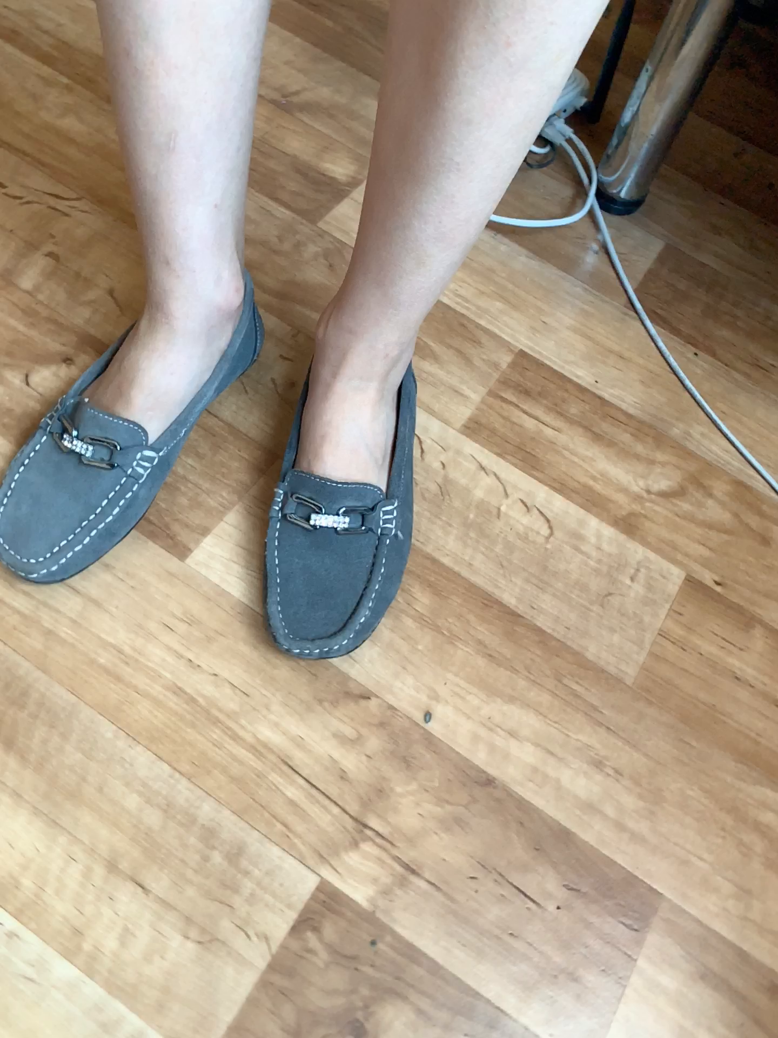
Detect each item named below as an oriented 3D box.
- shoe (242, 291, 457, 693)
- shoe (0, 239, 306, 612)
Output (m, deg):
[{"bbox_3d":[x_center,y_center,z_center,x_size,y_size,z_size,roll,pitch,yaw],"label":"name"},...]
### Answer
[{"bbox_3d":[-0.020,-0.024,0.499,0.100,0.060,0.241,9,60,-6],"label":"shoe"},{"bbox_3d":[-0.157,-0.069,0.506,0.090,0.060,0.241,29,60,10],"label":"shoe"}]
